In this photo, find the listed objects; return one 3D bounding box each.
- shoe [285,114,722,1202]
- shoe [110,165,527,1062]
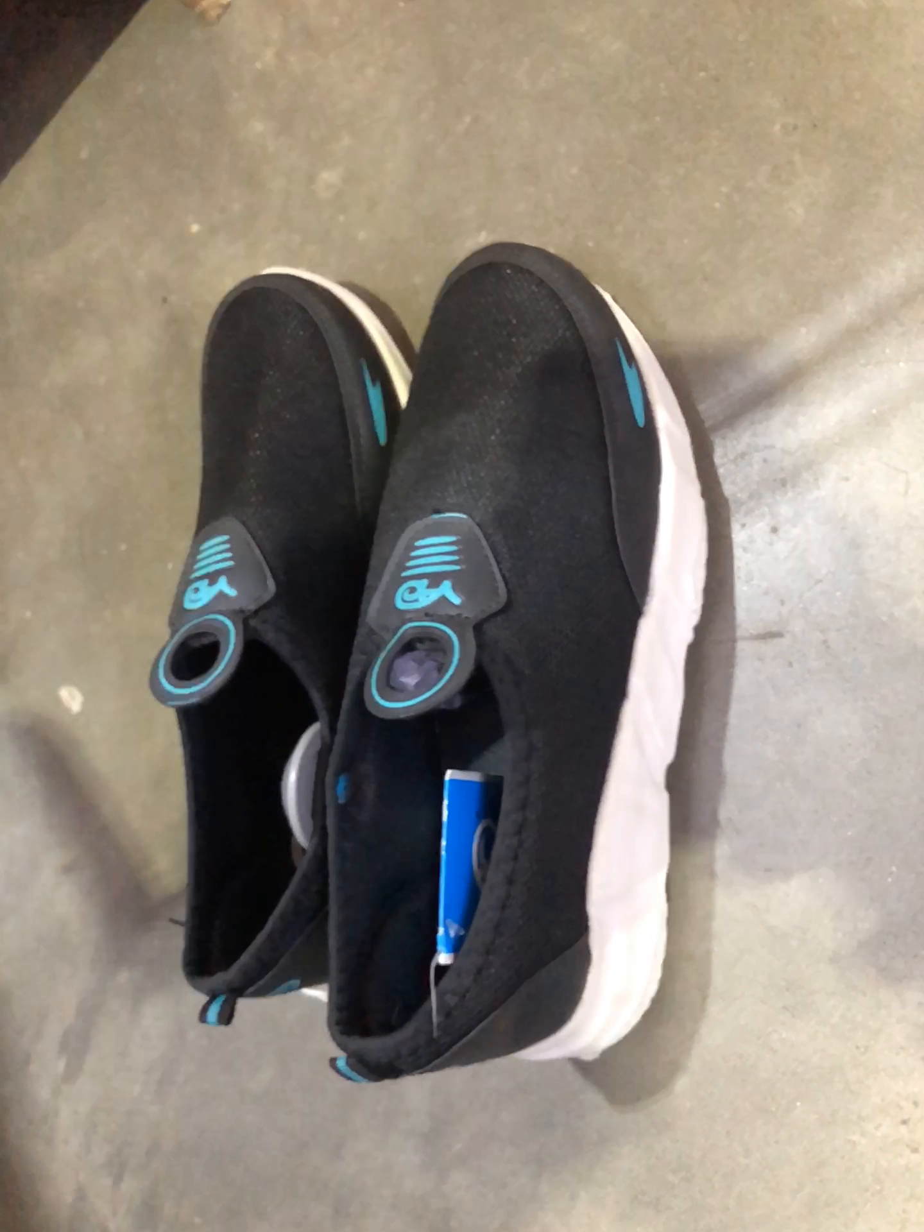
[{"bbox_3d":[0.020,0.010,0.355,0.110,0.100,0.300,-2,83,30],"label":"shoe"},{"bbox_3d":[-0.059,0.001,0.410,0.110,0.100,0.300,-9,80,29],"label":"shoe"}]
